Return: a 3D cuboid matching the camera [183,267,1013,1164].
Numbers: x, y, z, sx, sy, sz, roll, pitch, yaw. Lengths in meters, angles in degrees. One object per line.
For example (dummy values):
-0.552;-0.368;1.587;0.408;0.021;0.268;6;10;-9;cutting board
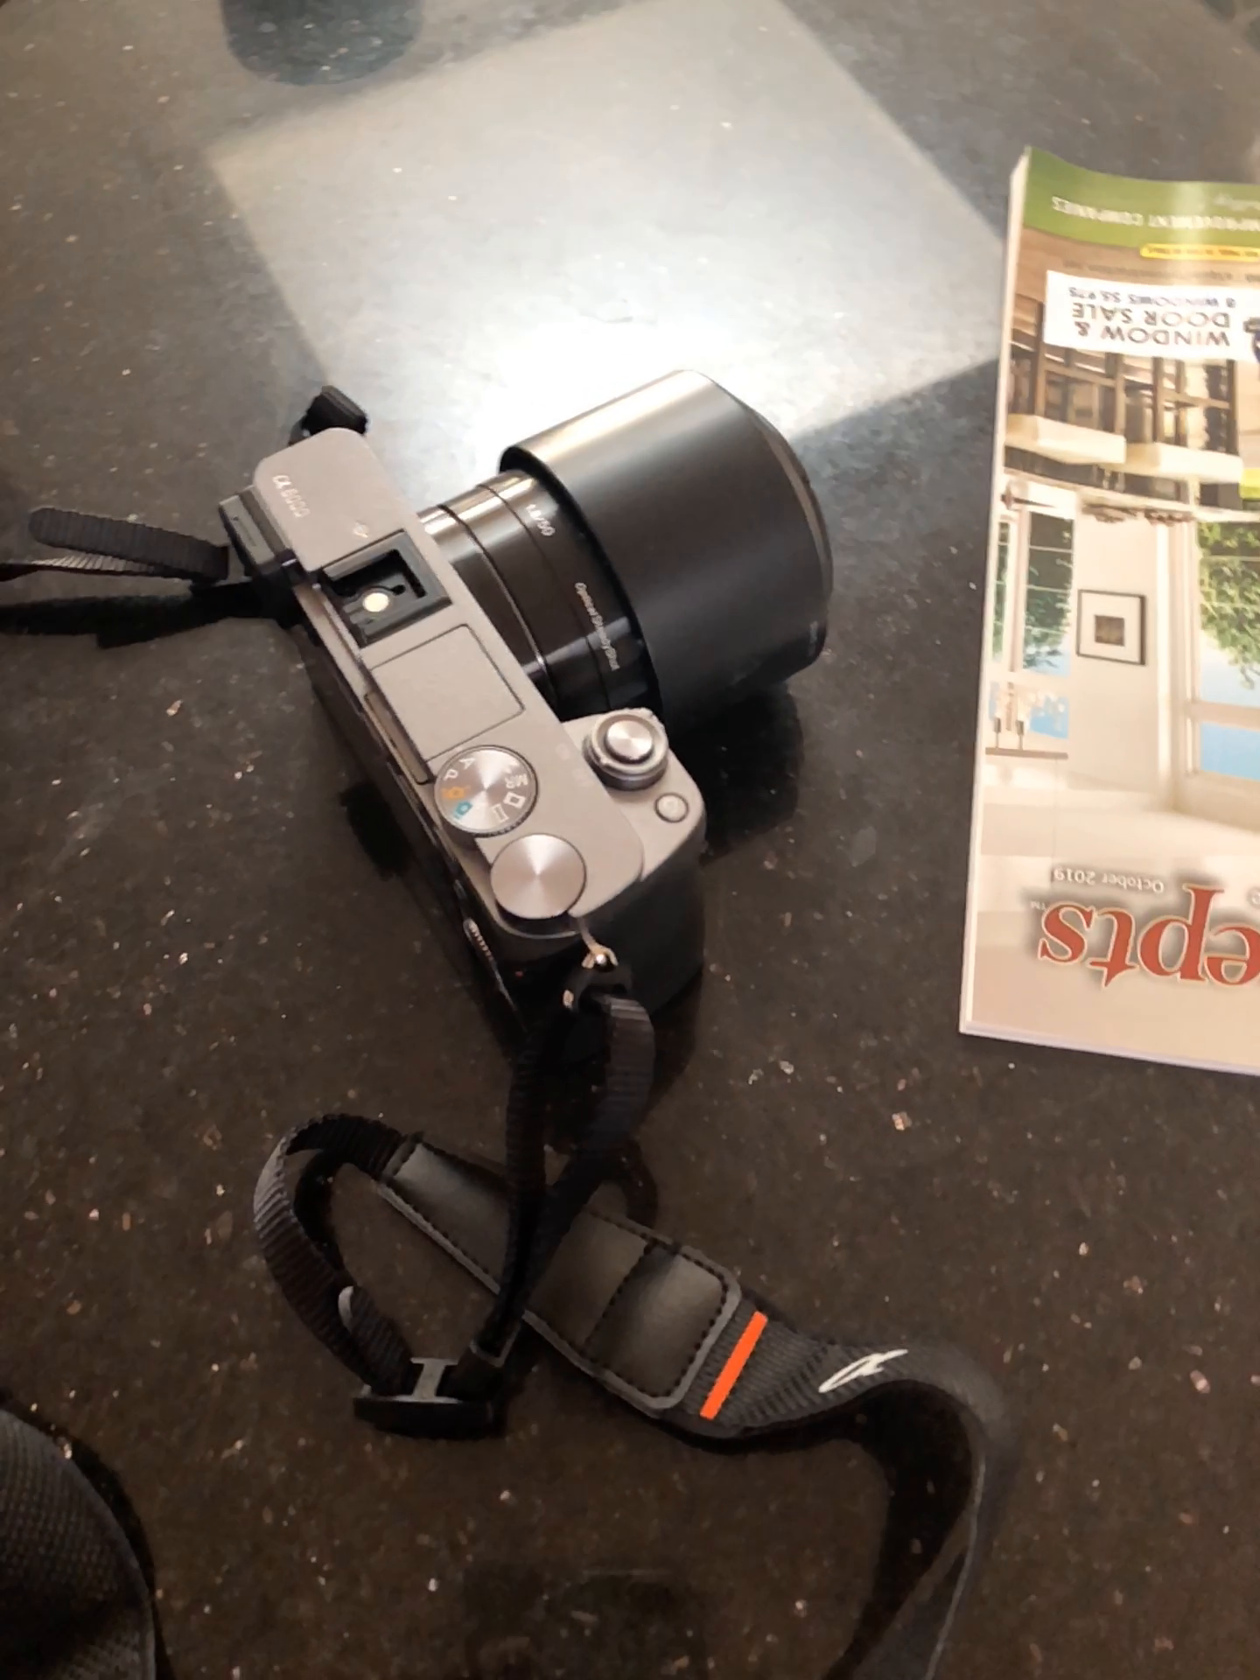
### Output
-0.009;-0.024;0.293;0.099;0.100;0.127;-28;65;-13;camera
